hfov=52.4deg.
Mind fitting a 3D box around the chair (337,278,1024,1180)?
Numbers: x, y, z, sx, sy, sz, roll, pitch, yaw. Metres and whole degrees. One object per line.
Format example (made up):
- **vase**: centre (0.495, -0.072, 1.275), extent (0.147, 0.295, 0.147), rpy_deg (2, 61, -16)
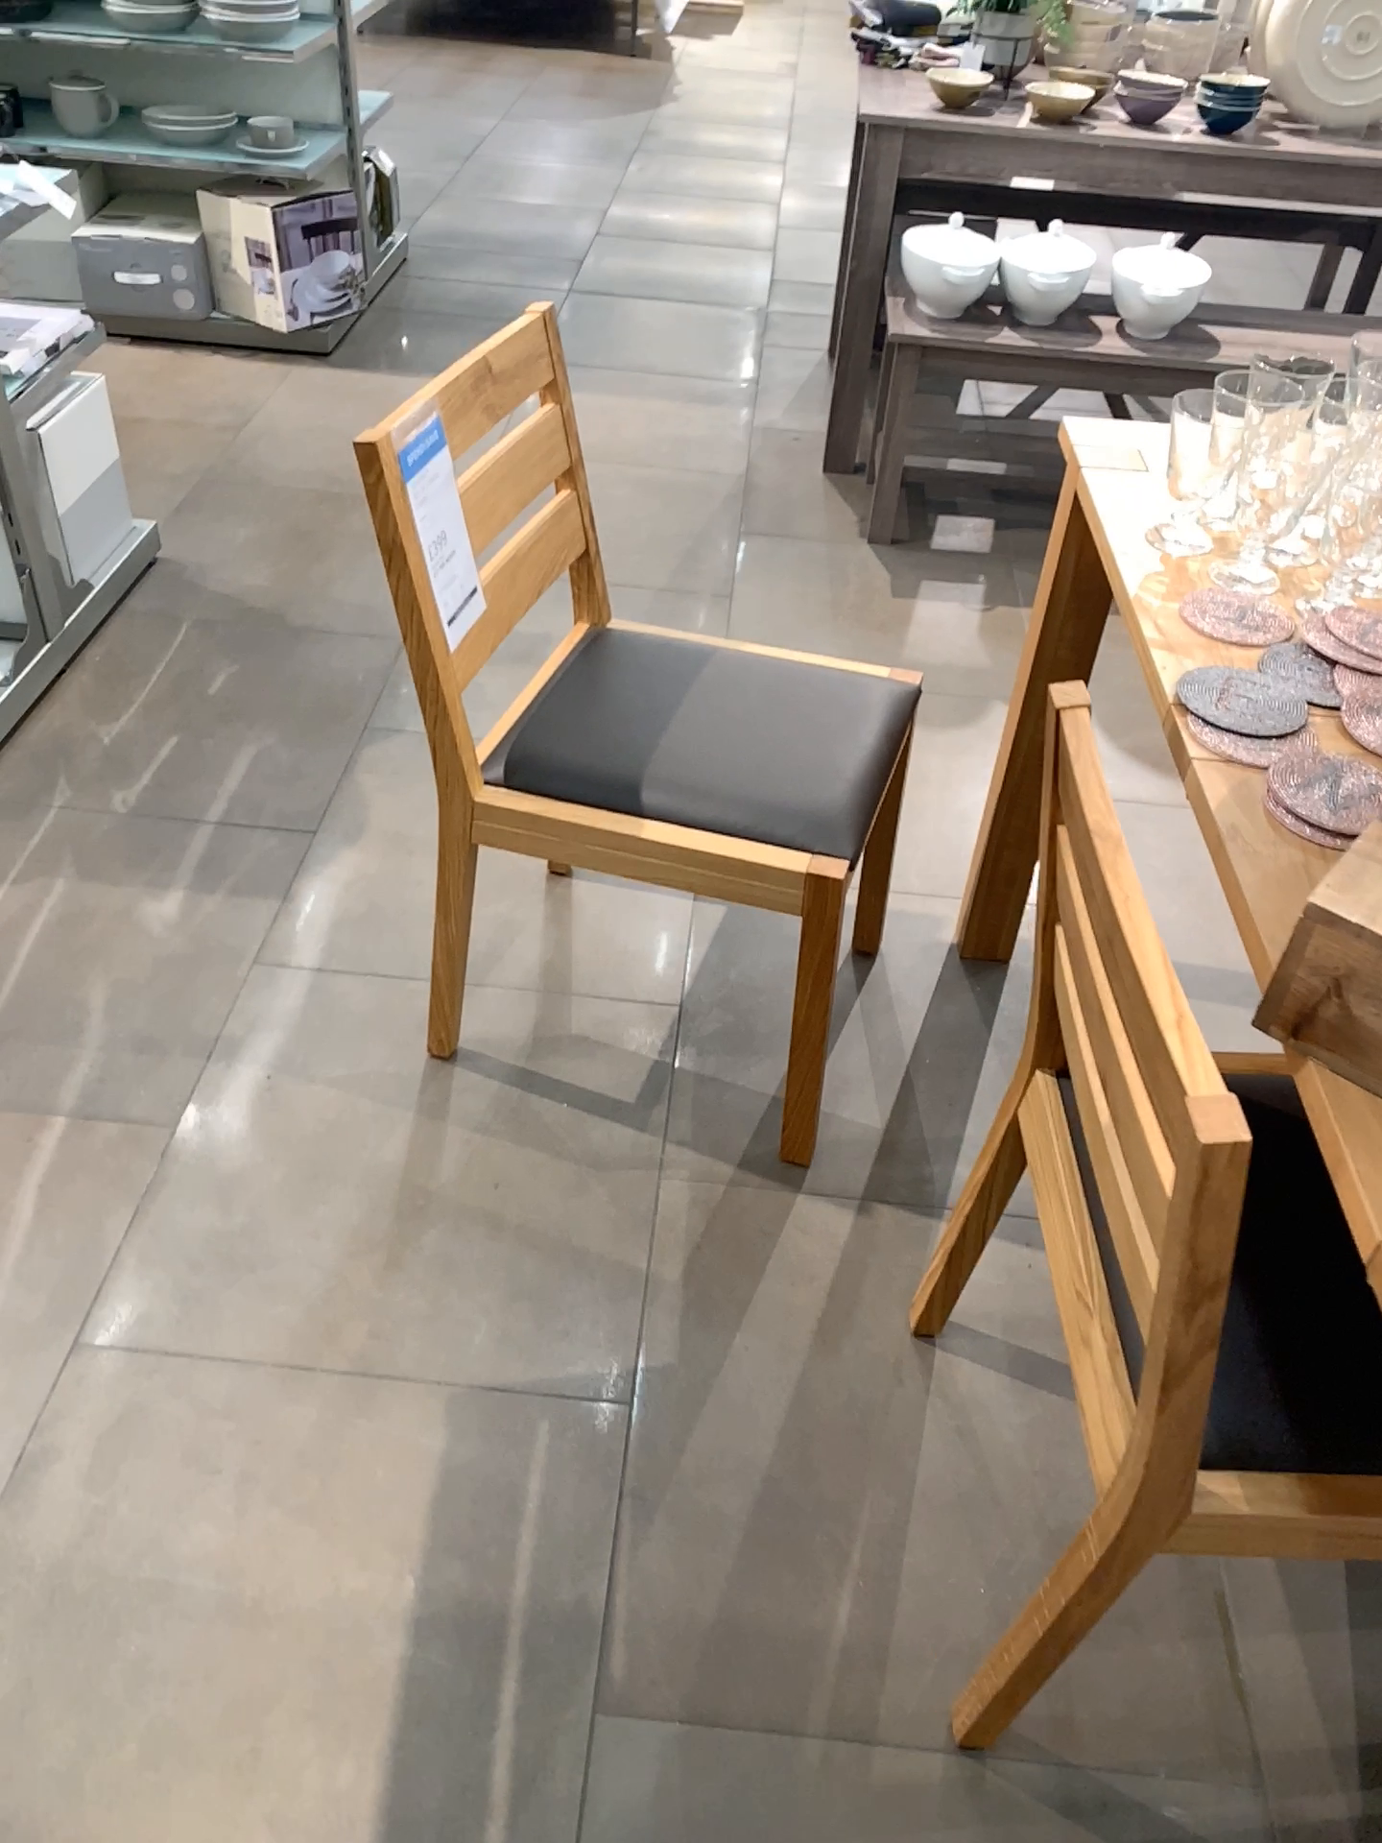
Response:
- **chair**: centre (0.002, -0.236, 1.713), extent (0.564, 0.815, 0.567), rpy_deg (14, 41, 11)
